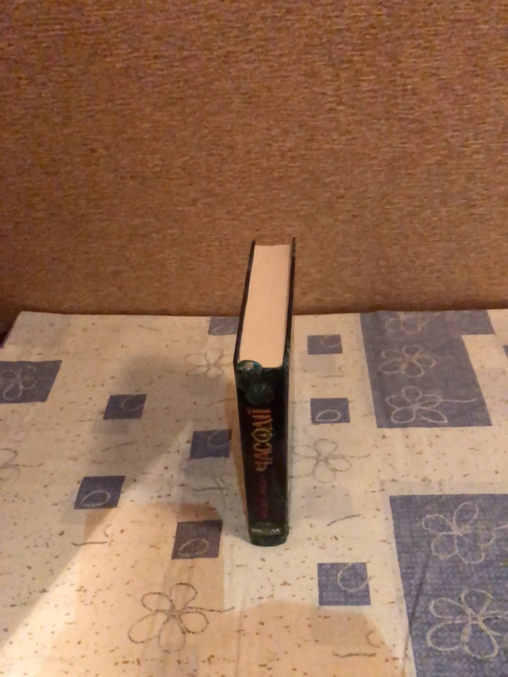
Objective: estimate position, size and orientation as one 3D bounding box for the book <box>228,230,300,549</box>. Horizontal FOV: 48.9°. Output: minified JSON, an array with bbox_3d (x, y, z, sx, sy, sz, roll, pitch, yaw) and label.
[{"bbox_3d":[0.017,0.044,0.488,0.040,0.215,0.174,0,39,6],"label":"book"}]
